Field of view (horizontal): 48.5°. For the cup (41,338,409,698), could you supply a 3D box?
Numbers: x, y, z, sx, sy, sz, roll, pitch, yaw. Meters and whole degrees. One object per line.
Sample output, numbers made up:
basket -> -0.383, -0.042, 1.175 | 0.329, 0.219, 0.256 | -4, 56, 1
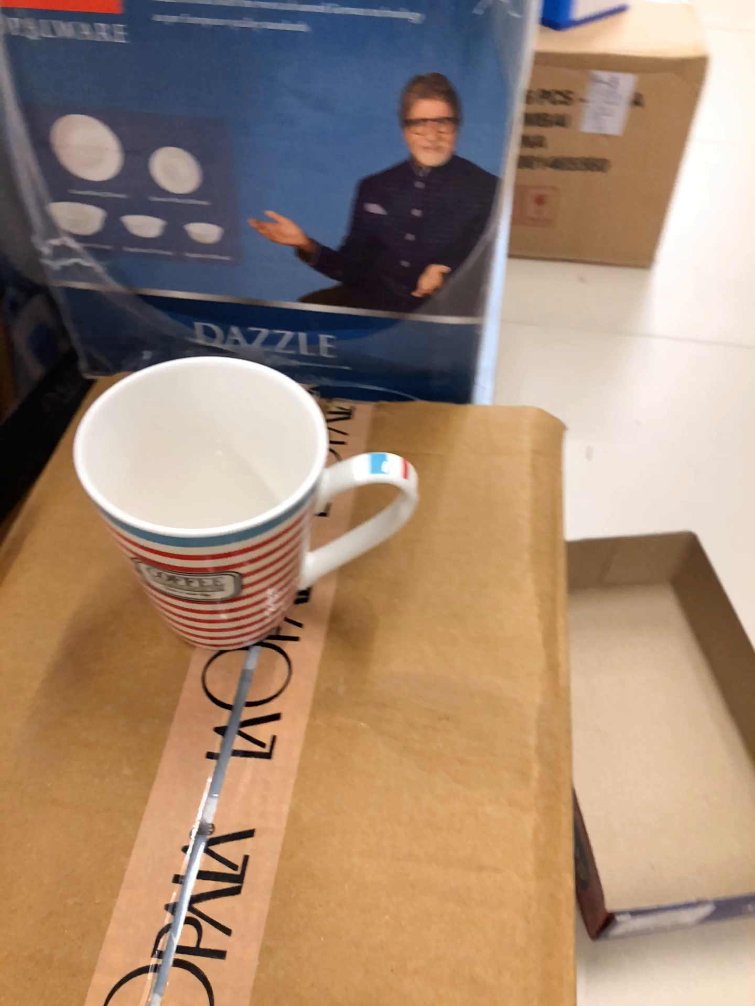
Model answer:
cup -> -0.049, 0.006, 0.320 | 0.110, 0.099, 0.091 | -2, 46, -4
